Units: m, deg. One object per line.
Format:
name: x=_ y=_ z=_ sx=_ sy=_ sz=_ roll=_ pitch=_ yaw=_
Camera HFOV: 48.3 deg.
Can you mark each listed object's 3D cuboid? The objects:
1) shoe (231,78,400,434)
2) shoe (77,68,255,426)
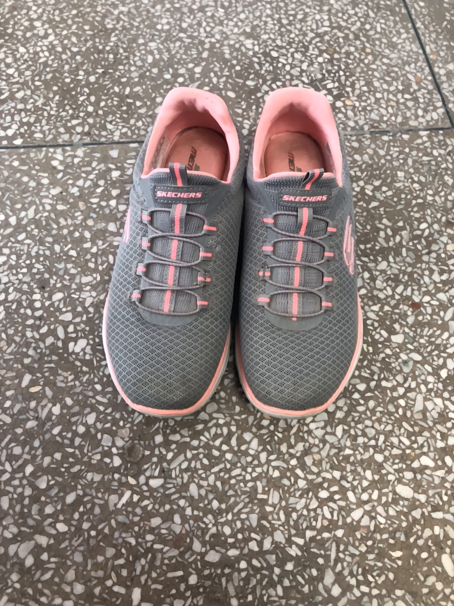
shoe: x=0.057 y=-0.032 z=0.366 sx=0.090 sy=0.100 sz=0.230 roll=4 pitch=69 yaw=0
shoe: x=-0.034 y=-0.040 z=0.376 sx=0.090 sy=0.100 sz=0.240 roll=4 pitch=69 yaw=0
